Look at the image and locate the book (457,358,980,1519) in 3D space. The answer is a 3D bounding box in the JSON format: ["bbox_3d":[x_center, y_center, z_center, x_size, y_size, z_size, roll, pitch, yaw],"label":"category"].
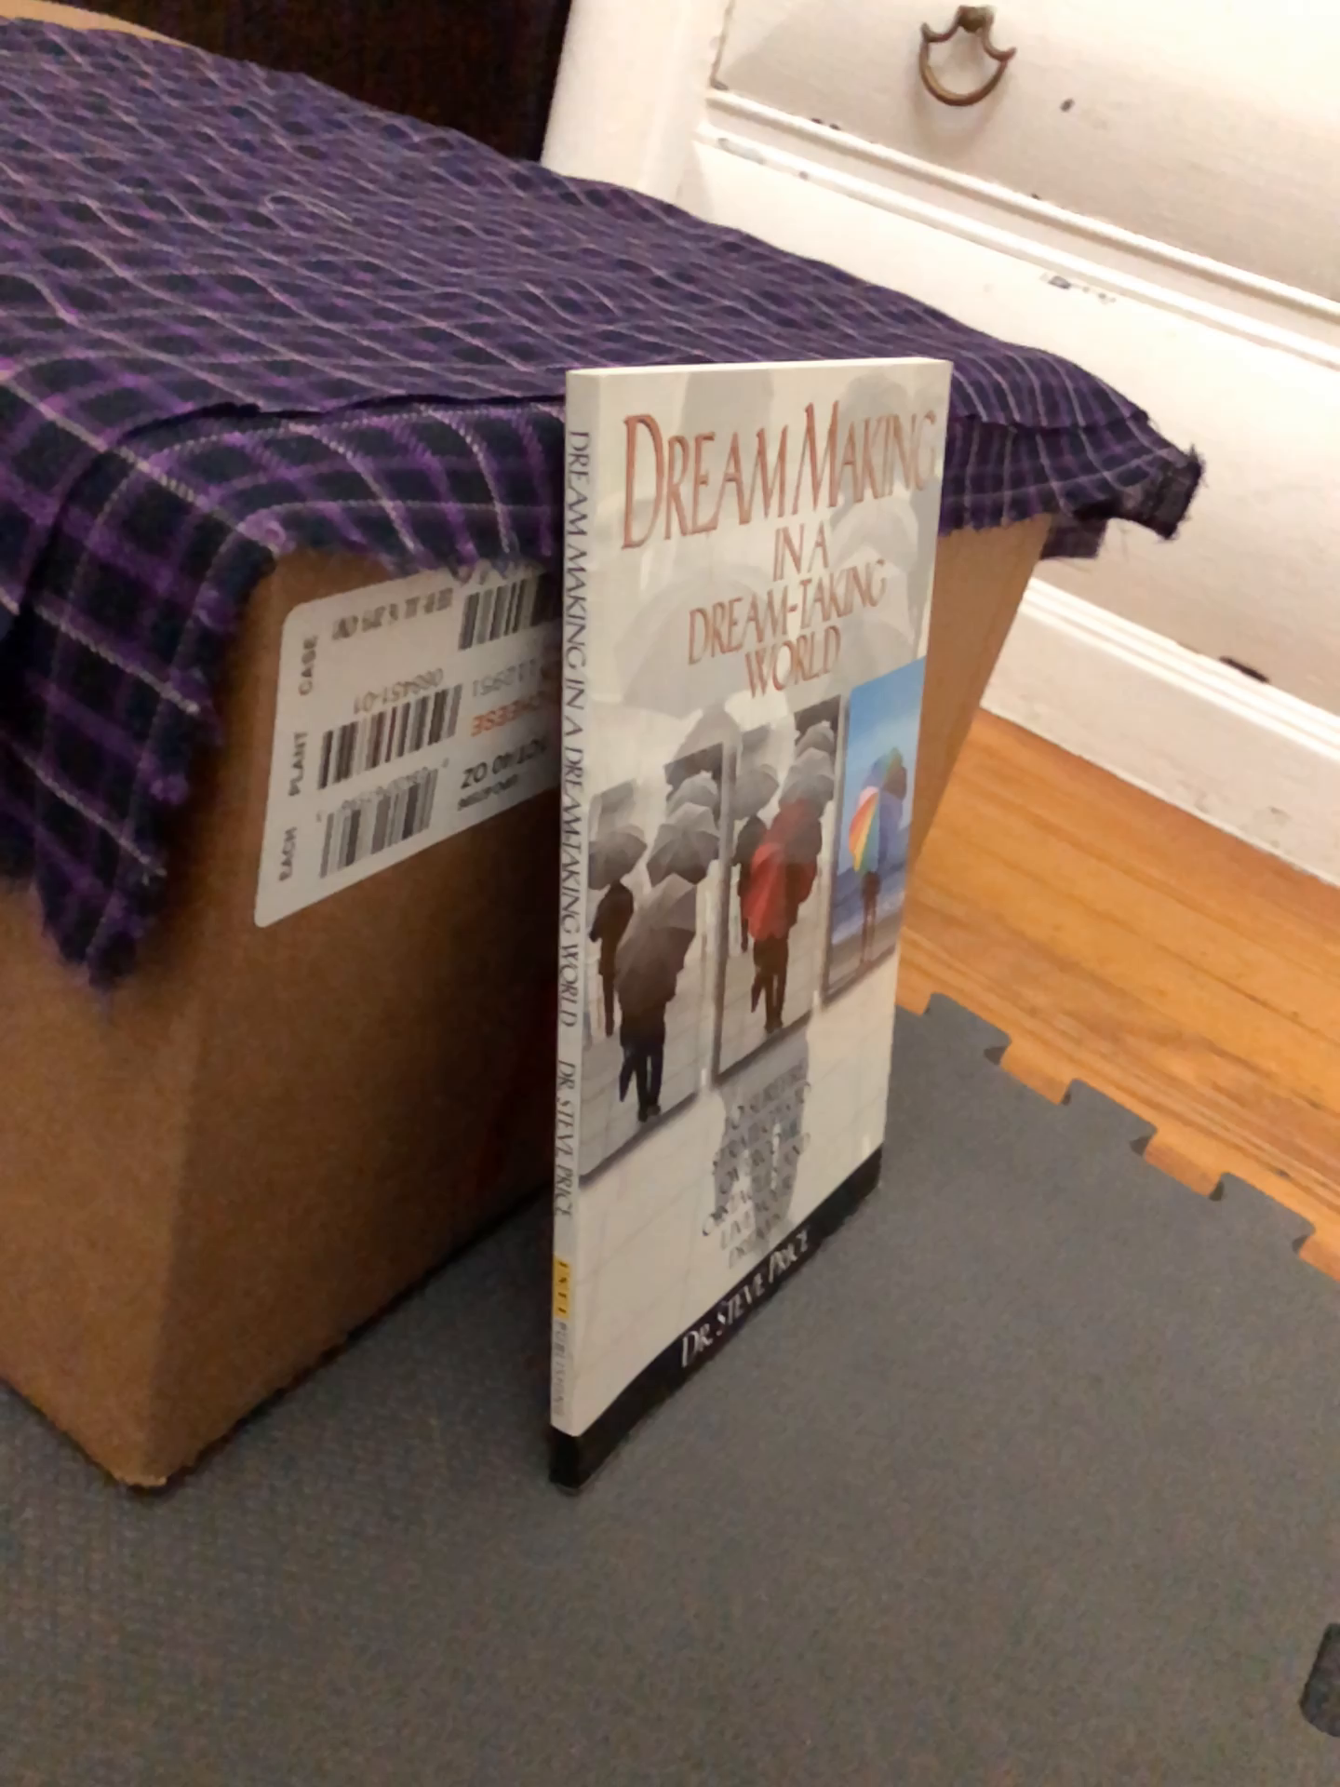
[{"bbox_3d":[0.015,0.002,0.325,0.020,0.219,0.151,16,27,32],"label":"book"}]
